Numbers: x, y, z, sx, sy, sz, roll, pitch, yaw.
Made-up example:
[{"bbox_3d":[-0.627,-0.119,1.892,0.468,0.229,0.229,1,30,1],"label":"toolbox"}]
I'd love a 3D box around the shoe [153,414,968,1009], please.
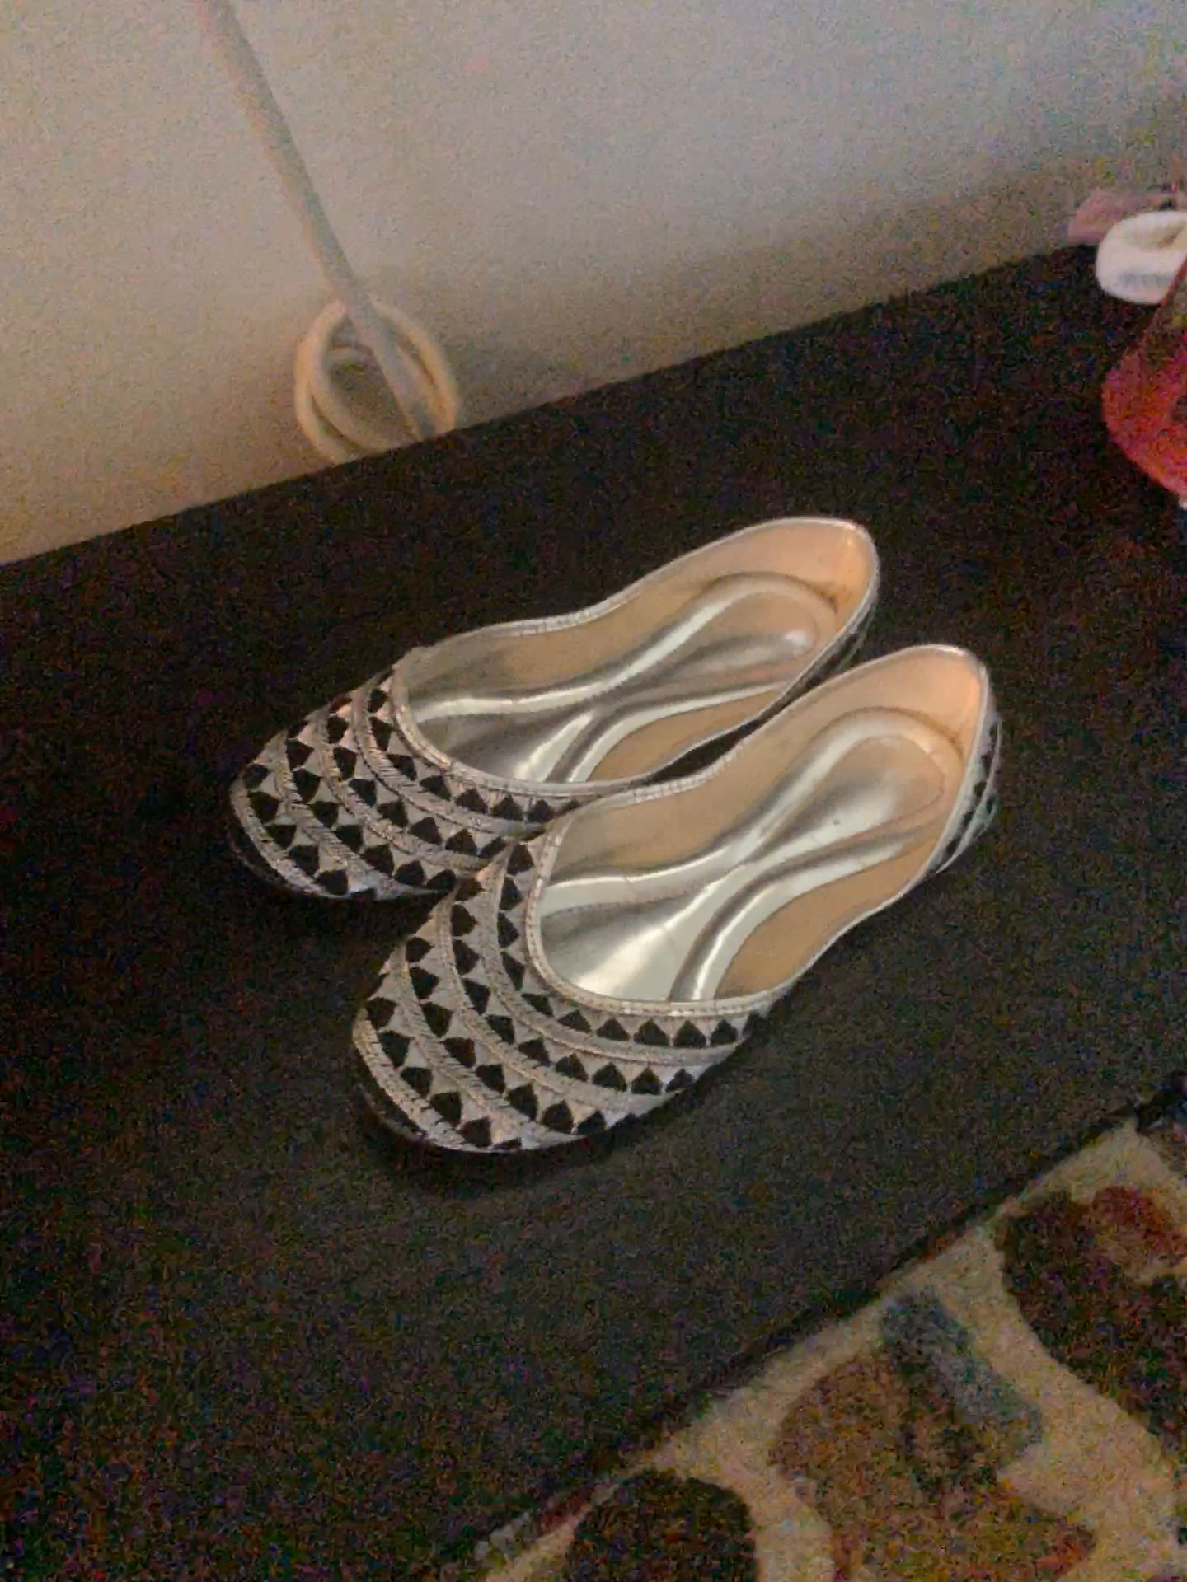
[{"bbox_3d":[-0.004,-0.040,0.444,0.271,0.069,0.096,-27,62,-23],"label":"shoe"}]

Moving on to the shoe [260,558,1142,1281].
[{"bbox_3d":[0.042,0.029,0.399,0.271,0.069,0.096,-29,63,-23],"label":"shoe"}]
